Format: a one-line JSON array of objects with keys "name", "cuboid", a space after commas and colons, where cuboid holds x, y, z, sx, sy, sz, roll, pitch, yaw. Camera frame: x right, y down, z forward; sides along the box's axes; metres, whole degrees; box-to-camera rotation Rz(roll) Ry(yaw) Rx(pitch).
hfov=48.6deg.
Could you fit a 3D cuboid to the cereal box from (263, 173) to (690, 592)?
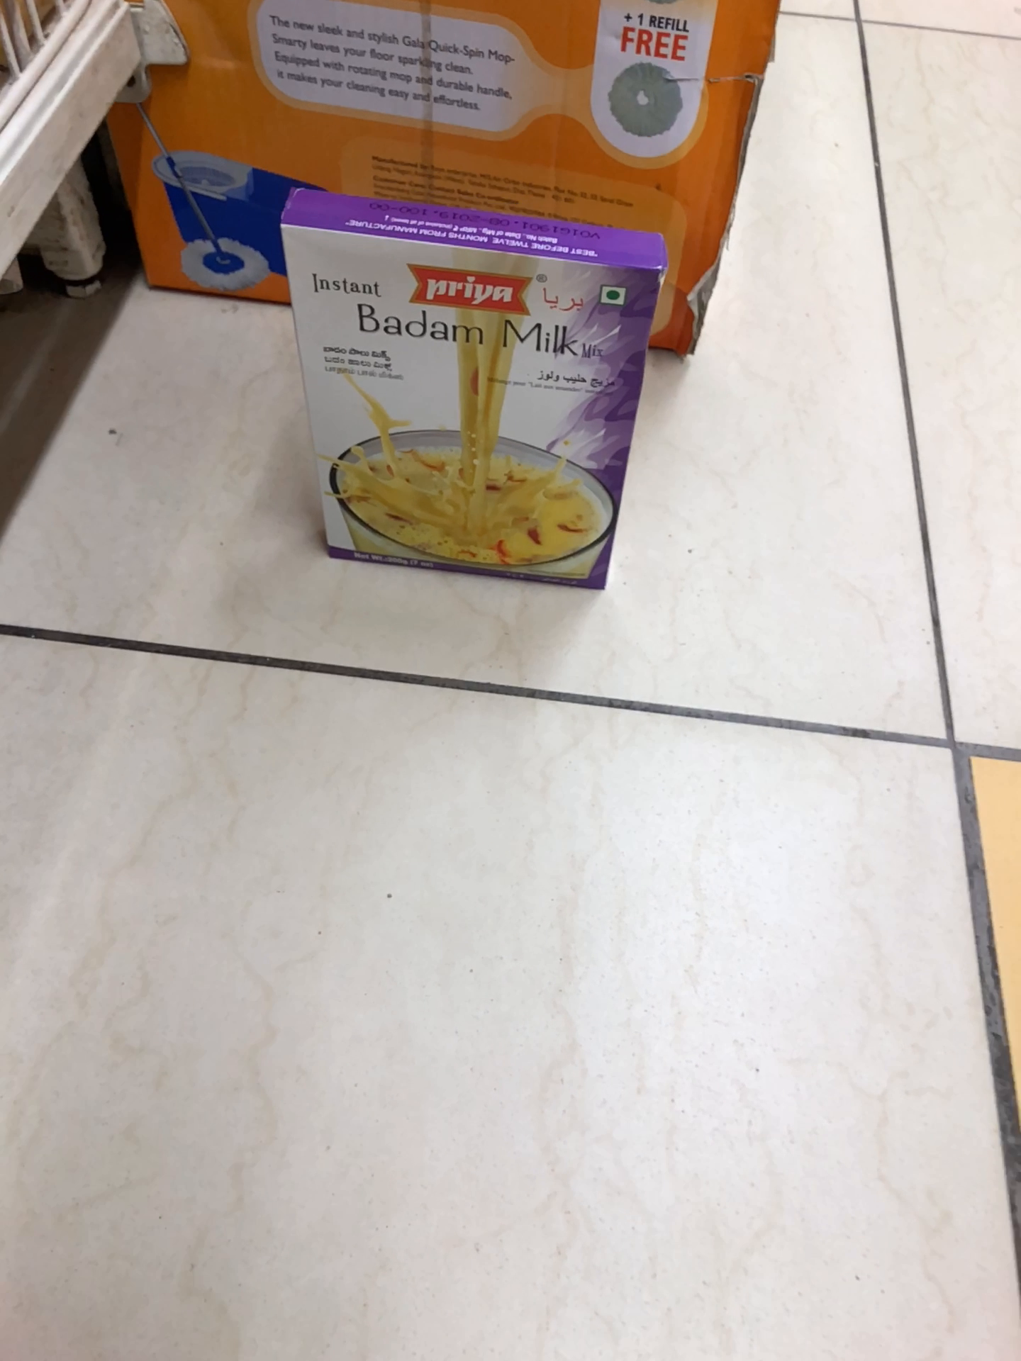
[{"name": "cereal box", "cuboid": [-0.013, -0.099, 0.412, 0.130, 0.149, 0.030, 7, 54, 1]}]
